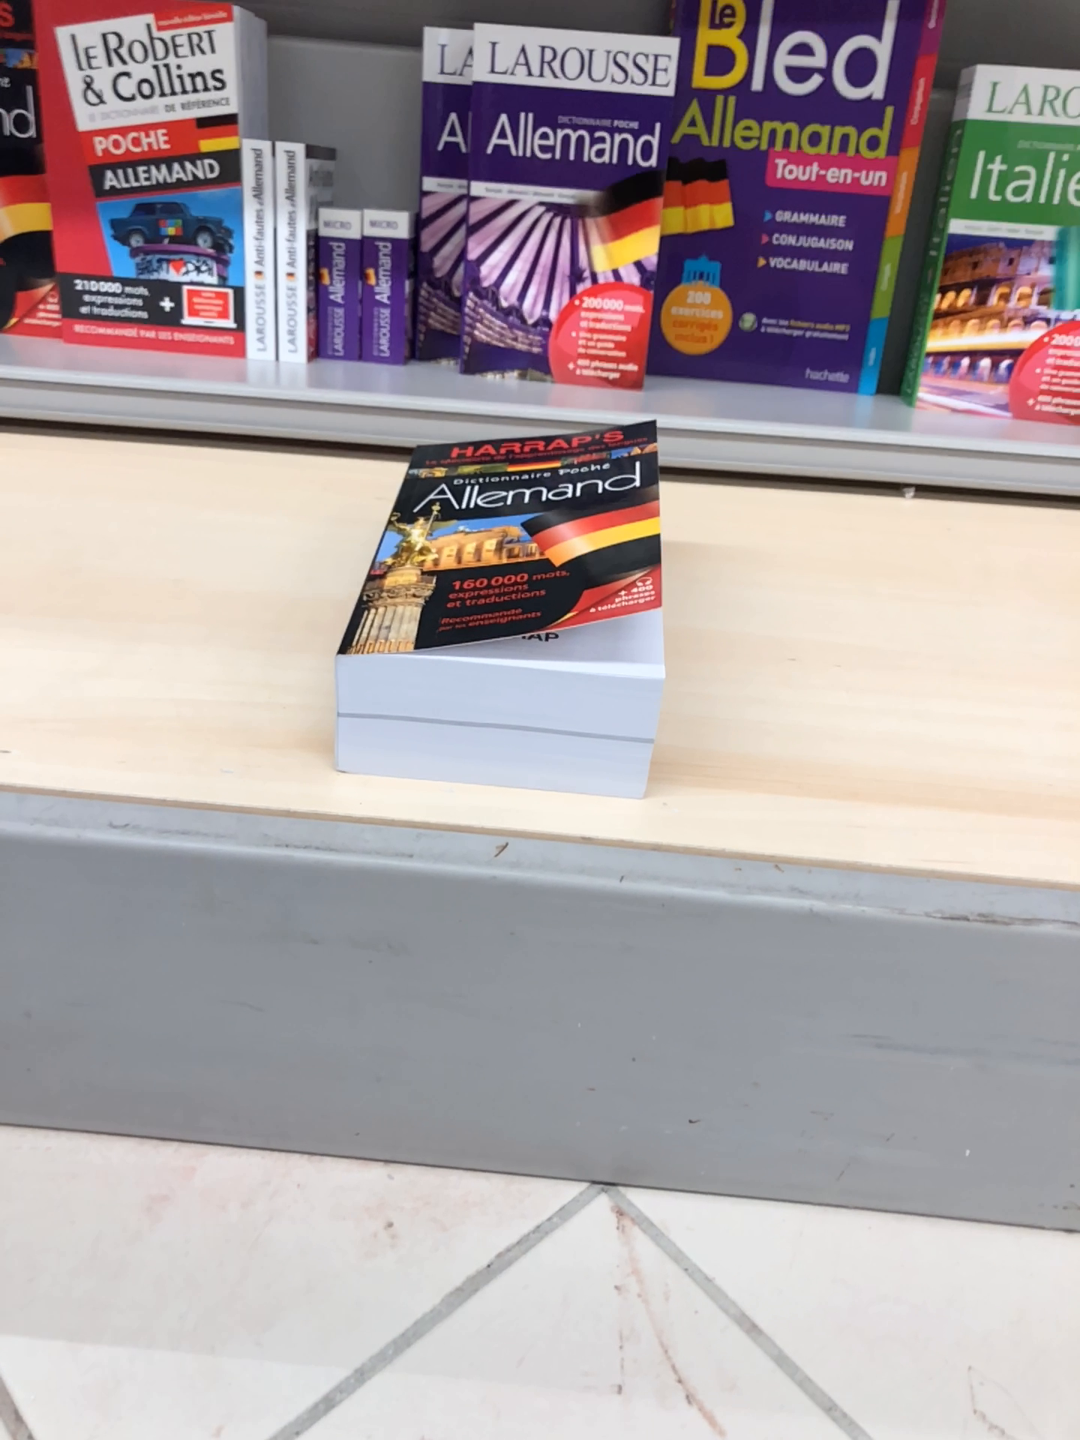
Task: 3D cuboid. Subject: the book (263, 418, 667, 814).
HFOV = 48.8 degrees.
[{"bbox_3d":[-0.020,-0.049,0.450,0.122,0.060,0.181,5,34,0],"label":"book"}]
